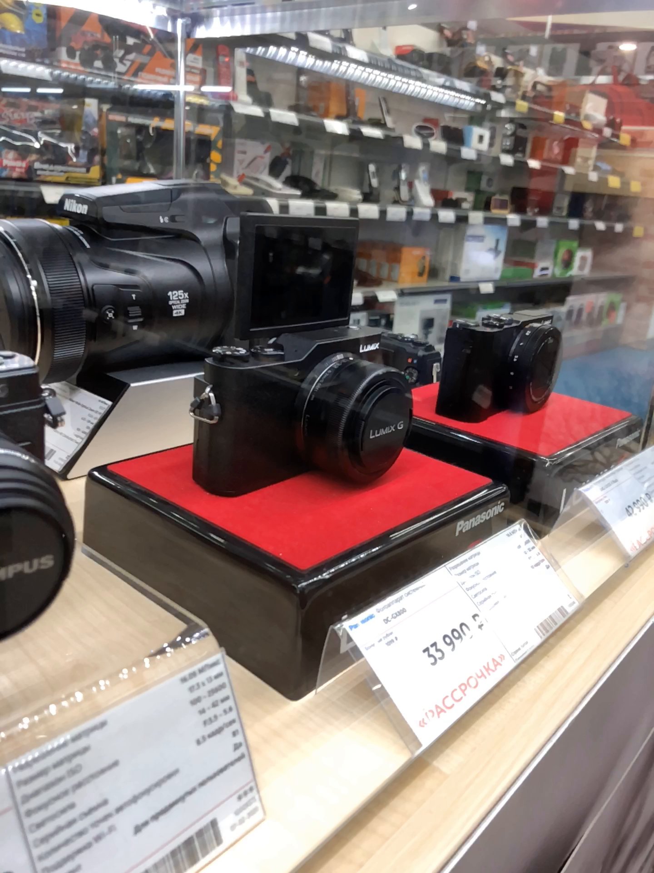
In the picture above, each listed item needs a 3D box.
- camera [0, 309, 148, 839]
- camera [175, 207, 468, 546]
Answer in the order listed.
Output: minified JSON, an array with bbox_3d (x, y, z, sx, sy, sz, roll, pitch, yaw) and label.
[{"bbox_3d":[-0.126,0.016,0.200,0.103,0.080,0.108,20,23,37],"label":"camera"},{"bbox_3d":[-0.002,-0.035,0.324,0.070,0.120,0.108,18,22,34],"label":"camera"}]
